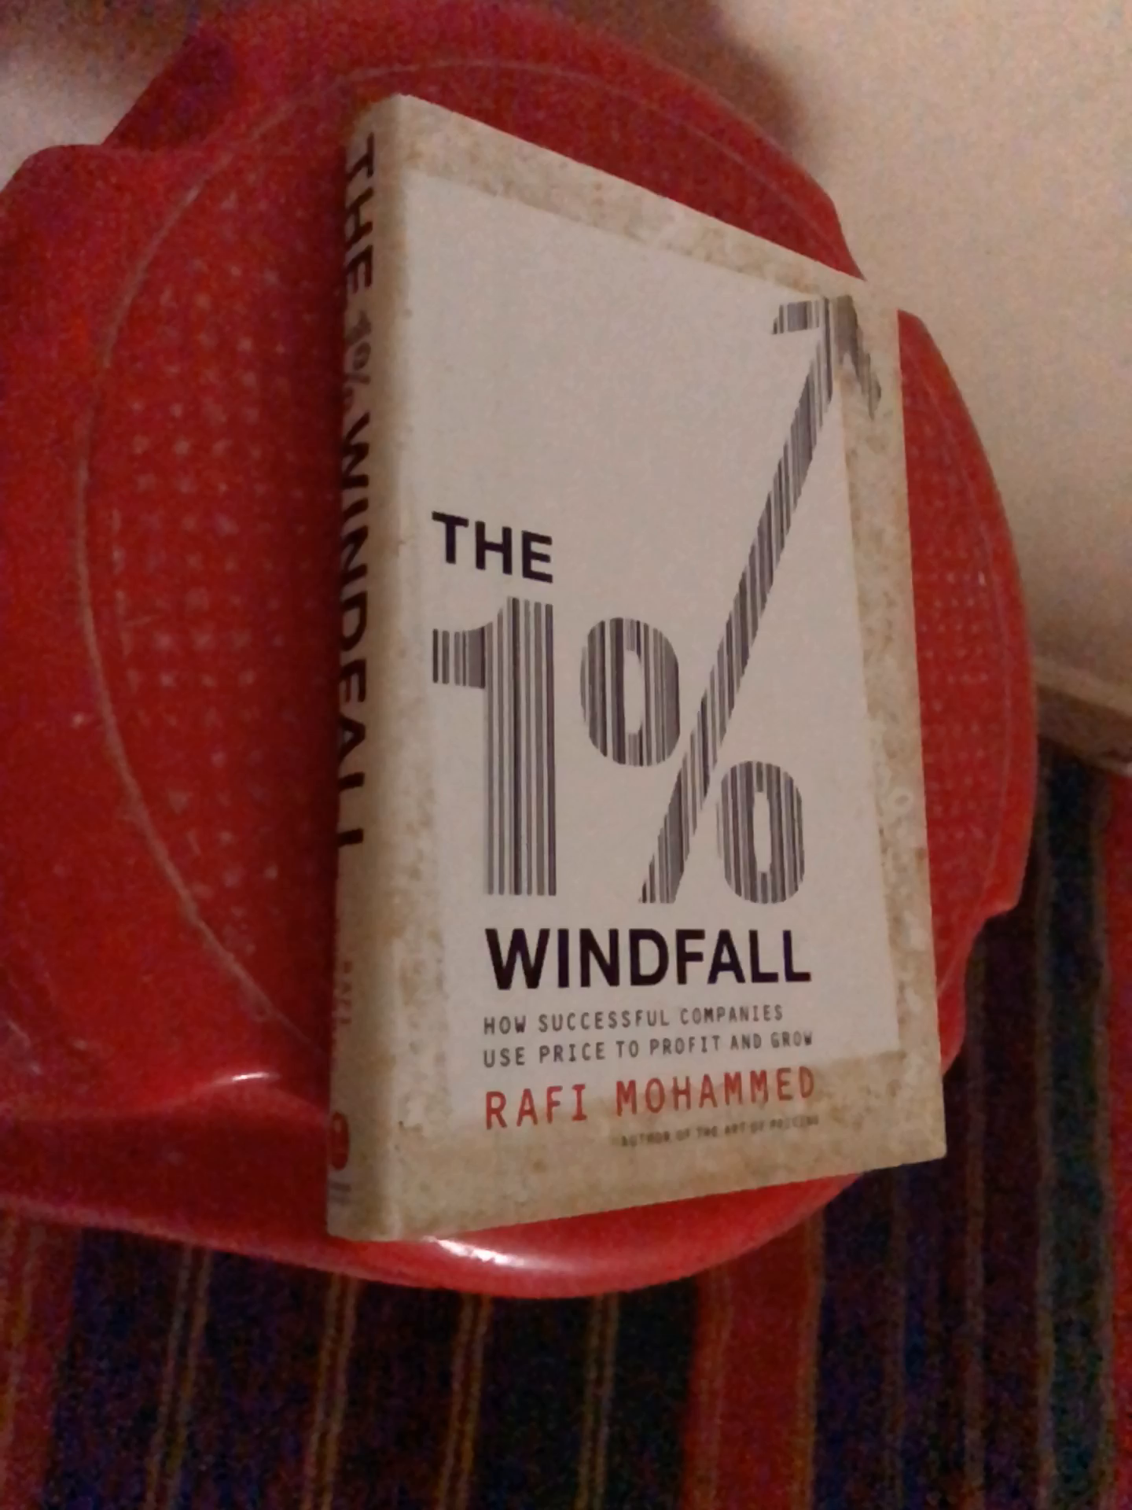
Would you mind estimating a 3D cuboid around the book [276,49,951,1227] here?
[{"bbox_3d":[0.019,-0.025,0.337,0.181,0.040,0.260,6,78,-34],"label":"book"}]
